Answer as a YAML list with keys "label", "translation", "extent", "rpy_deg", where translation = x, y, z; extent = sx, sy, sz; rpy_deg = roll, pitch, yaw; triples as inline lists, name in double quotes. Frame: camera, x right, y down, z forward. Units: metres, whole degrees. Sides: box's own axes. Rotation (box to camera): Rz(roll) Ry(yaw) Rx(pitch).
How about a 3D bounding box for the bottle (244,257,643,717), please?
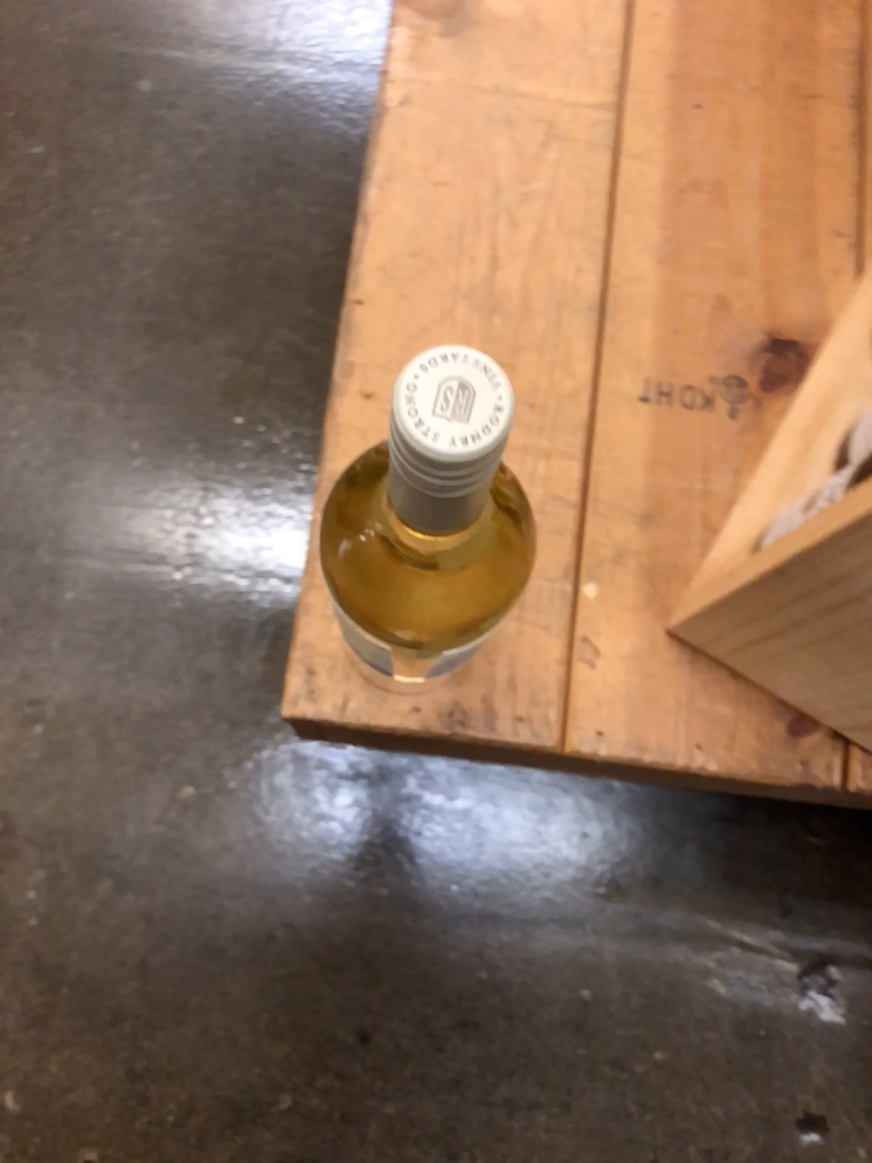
- label: "bottle"
  translation: [-0.003, -0.004, 0.358]
  extent: [0.079, 0.284, 0.073]
  rpy_deg: [1, 78, -2]
